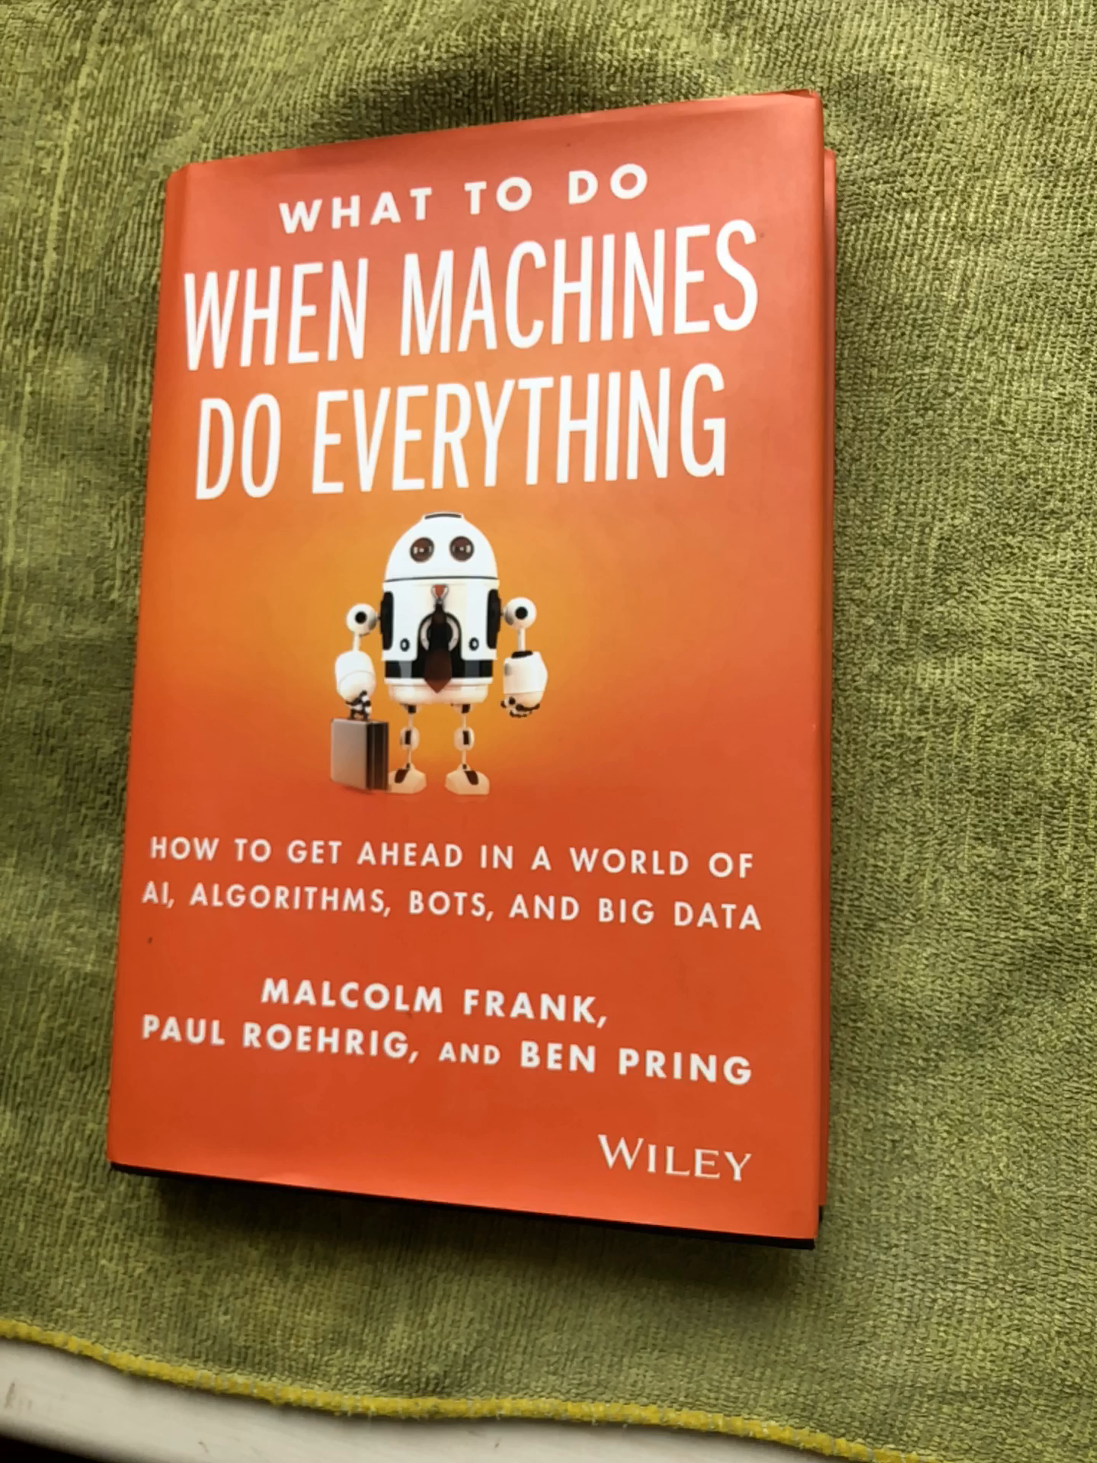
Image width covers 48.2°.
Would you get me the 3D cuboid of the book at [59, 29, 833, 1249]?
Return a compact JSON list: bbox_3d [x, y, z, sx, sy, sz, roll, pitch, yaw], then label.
[{"bbox_3d":[-0.019,-0.023,0.276,0.160,0.040,0.240,1,84,13],"label":"book"}]
